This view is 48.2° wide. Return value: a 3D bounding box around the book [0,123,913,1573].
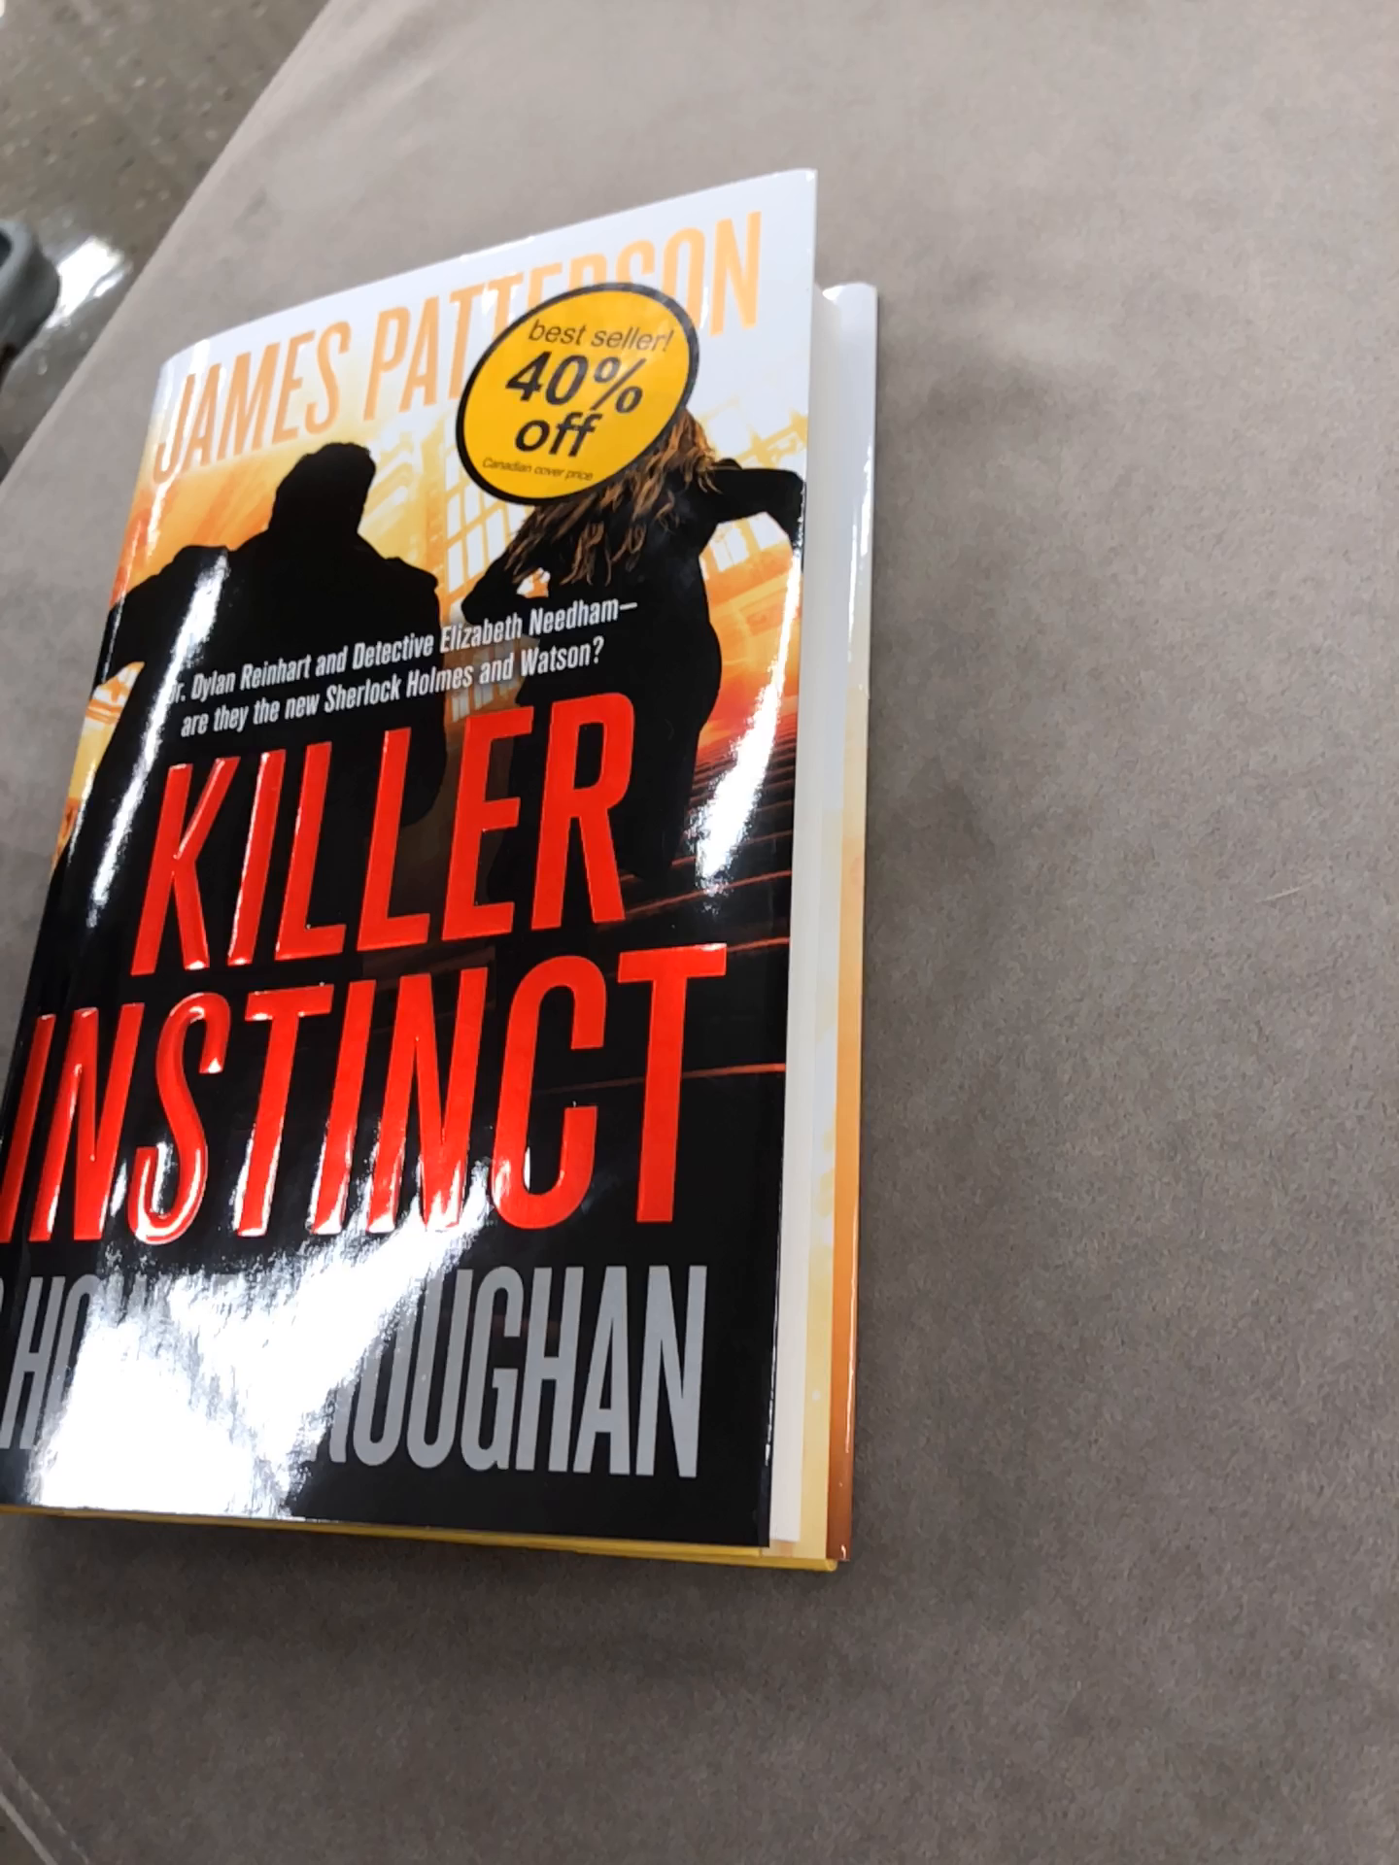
[{"bbox_3d":[-0.051,-0.018,0.283,0.172,0.038,0.238,-6,67,23],"label":"book"}]
